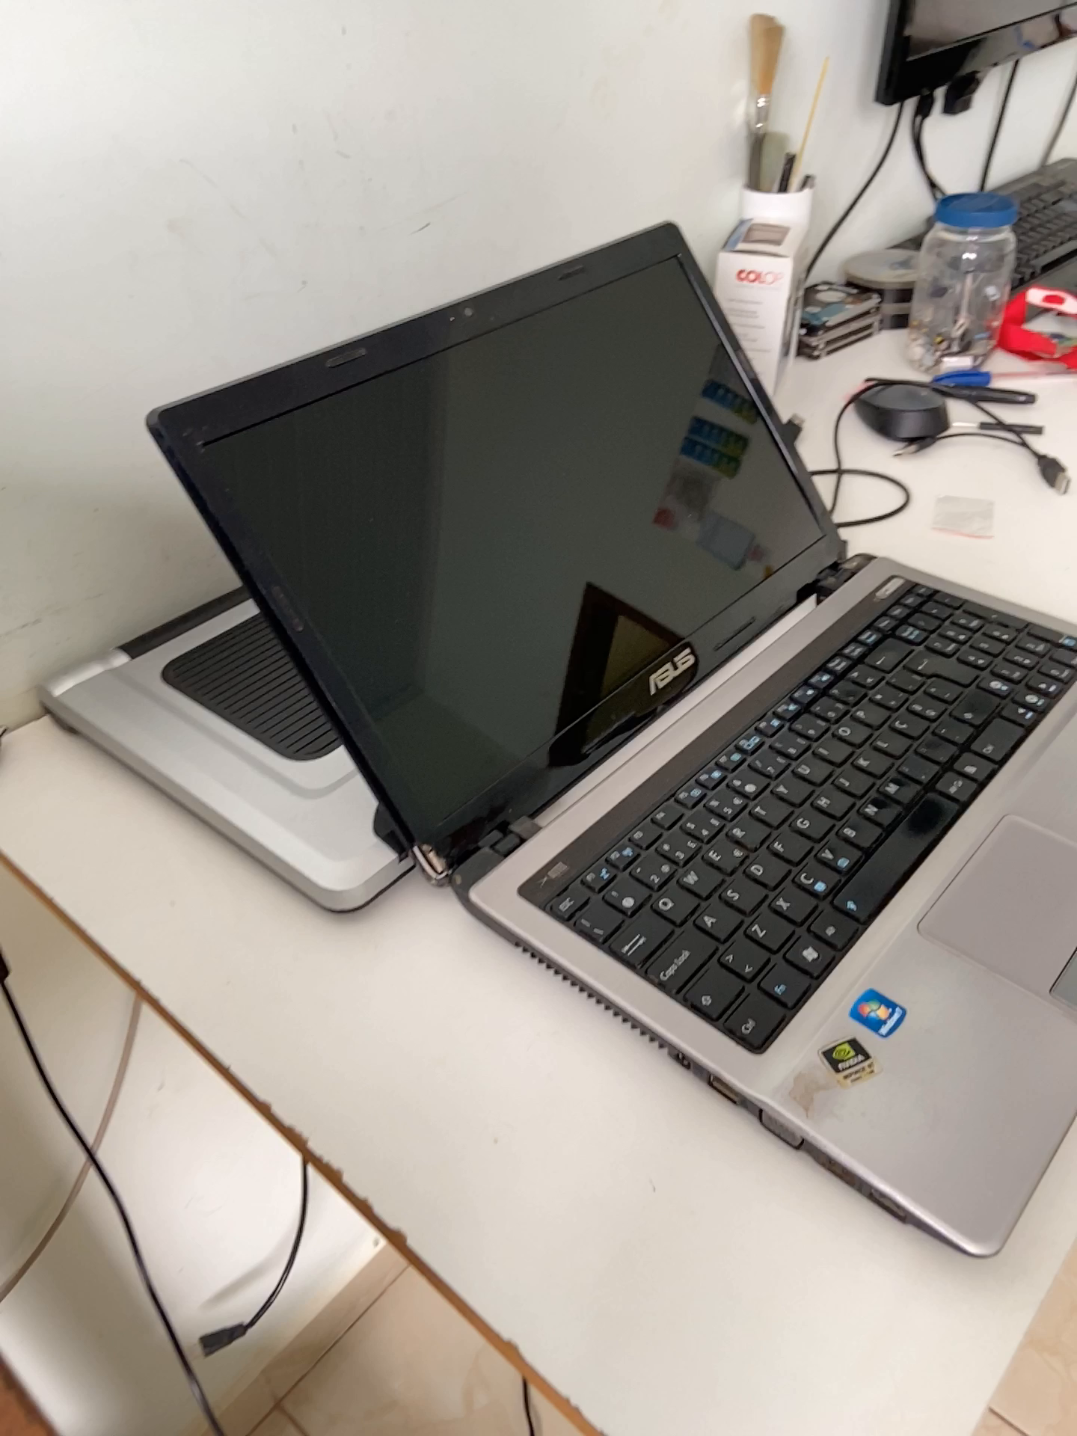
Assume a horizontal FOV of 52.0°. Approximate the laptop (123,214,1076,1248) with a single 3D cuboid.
[{"bbox_3d":[0.109,-0.071,0.523,0.416,0.179,0.378,28,47,33],"label":"laptop"}]
